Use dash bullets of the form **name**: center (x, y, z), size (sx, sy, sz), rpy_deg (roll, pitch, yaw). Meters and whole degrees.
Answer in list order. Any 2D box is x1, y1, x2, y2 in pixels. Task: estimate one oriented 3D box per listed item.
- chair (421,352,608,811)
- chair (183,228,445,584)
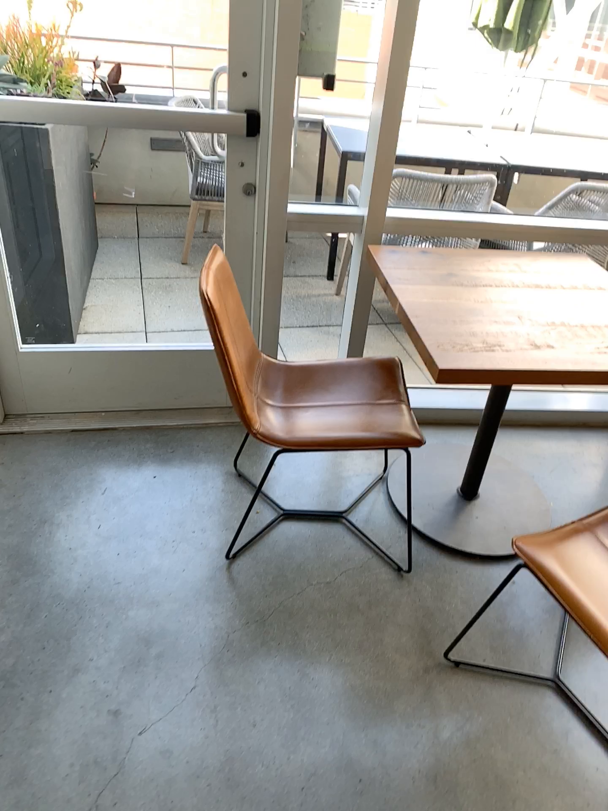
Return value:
- **chair**: center (0.700, 0.433, 1.289), size (0.490, 0.865, 0.543), rpy_deg (-12, 42, -25)
- **chair**: center (0.004, 0.011, 1.739), size (0.550, 0.865, 0.493), rpy_deg (-1, 35, -3)
